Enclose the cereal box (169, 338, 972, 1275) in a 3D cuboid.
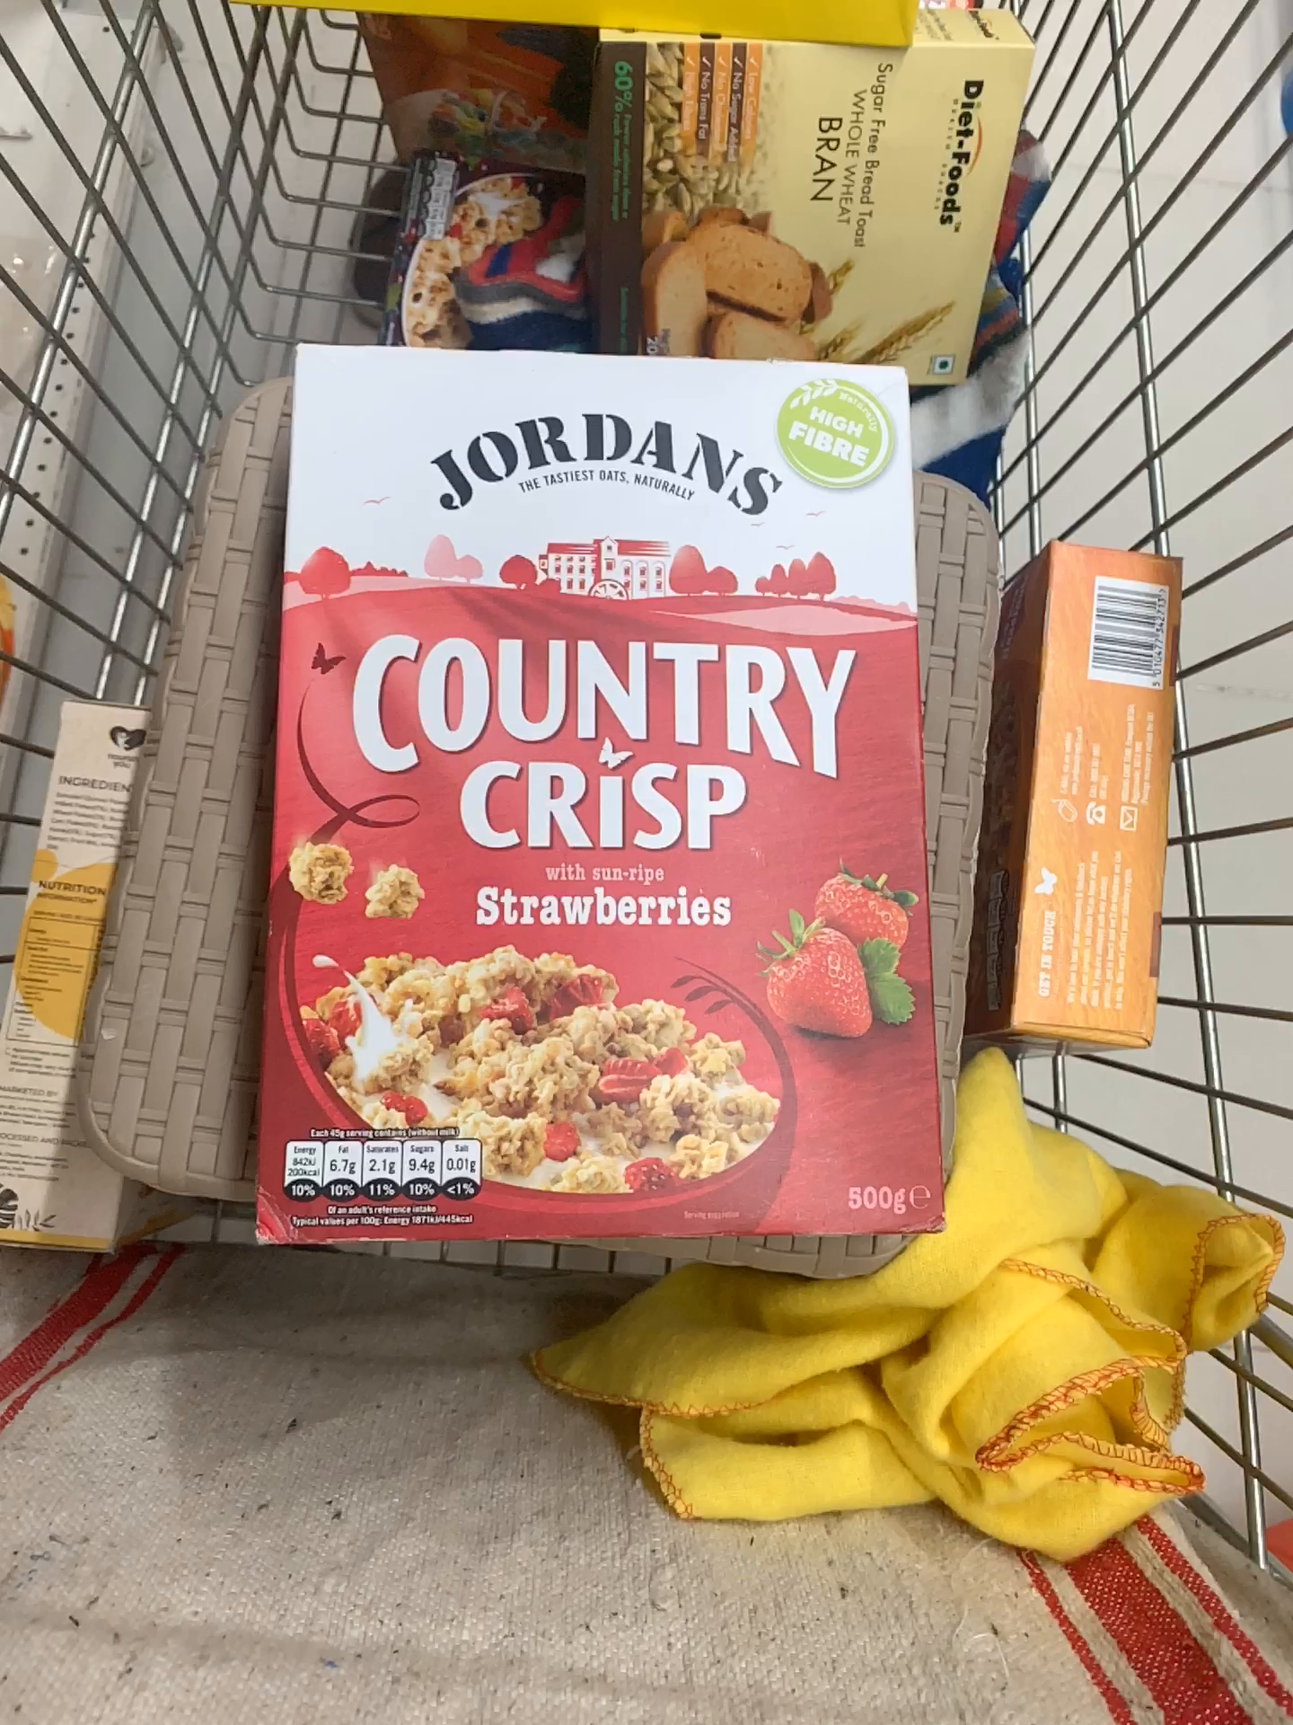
[{"bbox_3d":[-0.018,-0.014,0.356,0.180,0.070,0.230,0,78,-4],"label":"cereal box"}]
